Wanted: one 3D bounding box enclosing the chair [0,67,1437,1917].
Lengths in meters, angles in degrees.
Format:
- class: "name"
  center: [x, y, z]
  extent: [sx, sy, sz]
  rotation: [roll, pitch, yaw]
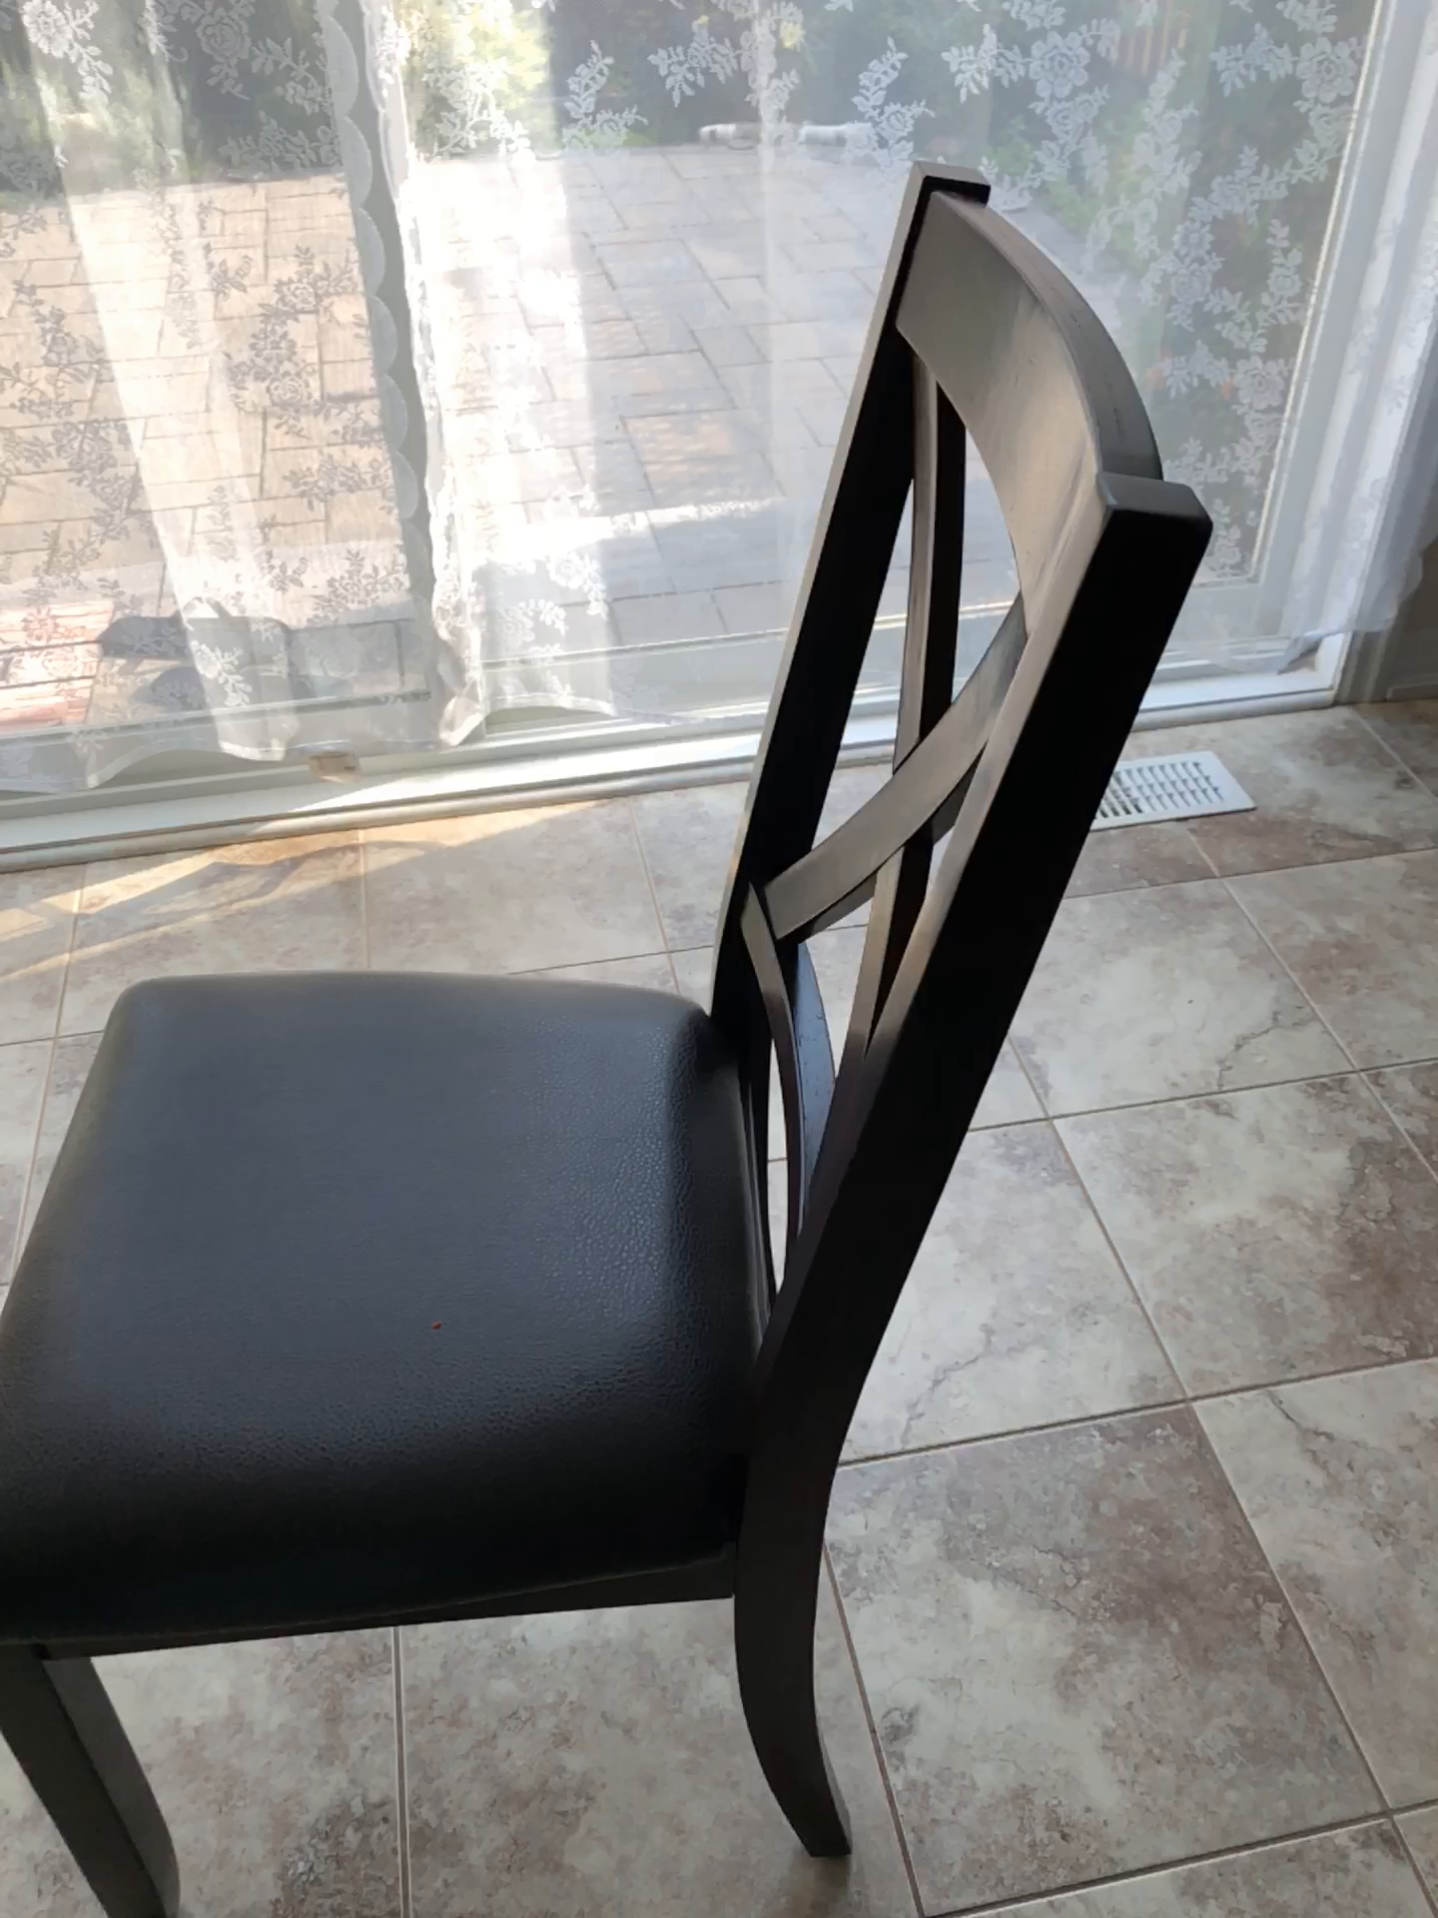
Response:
- class: "chair"
  center: [-0.123, 0.103, 0.858]
  extent: [0.600, 0.936, 0.482]
  rotation: [-2, 40, -1]
